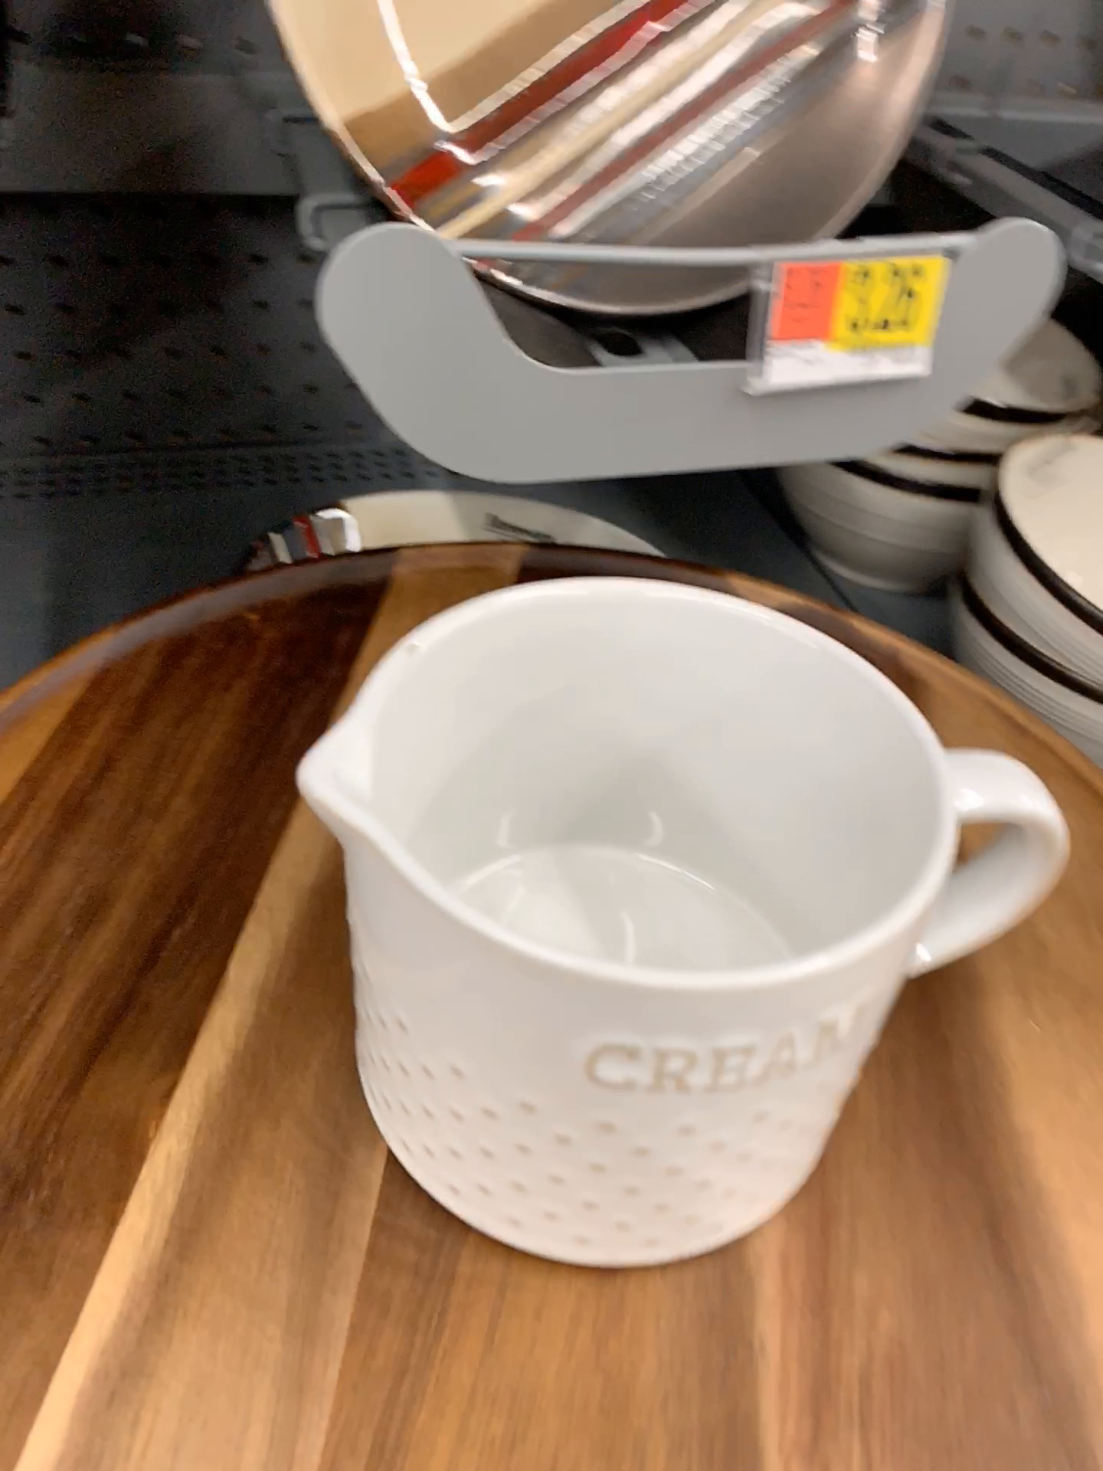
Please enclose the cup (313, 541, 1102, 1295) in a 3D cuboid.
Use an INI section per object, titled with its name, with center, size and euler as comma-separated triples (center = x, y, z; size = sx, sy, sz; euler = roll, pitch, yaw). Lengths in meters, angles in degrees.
[cup]
center = 0.033, 0.028, 0.225
size = 0.150, 0.090, 0.100
euler = -3, 42, -12
